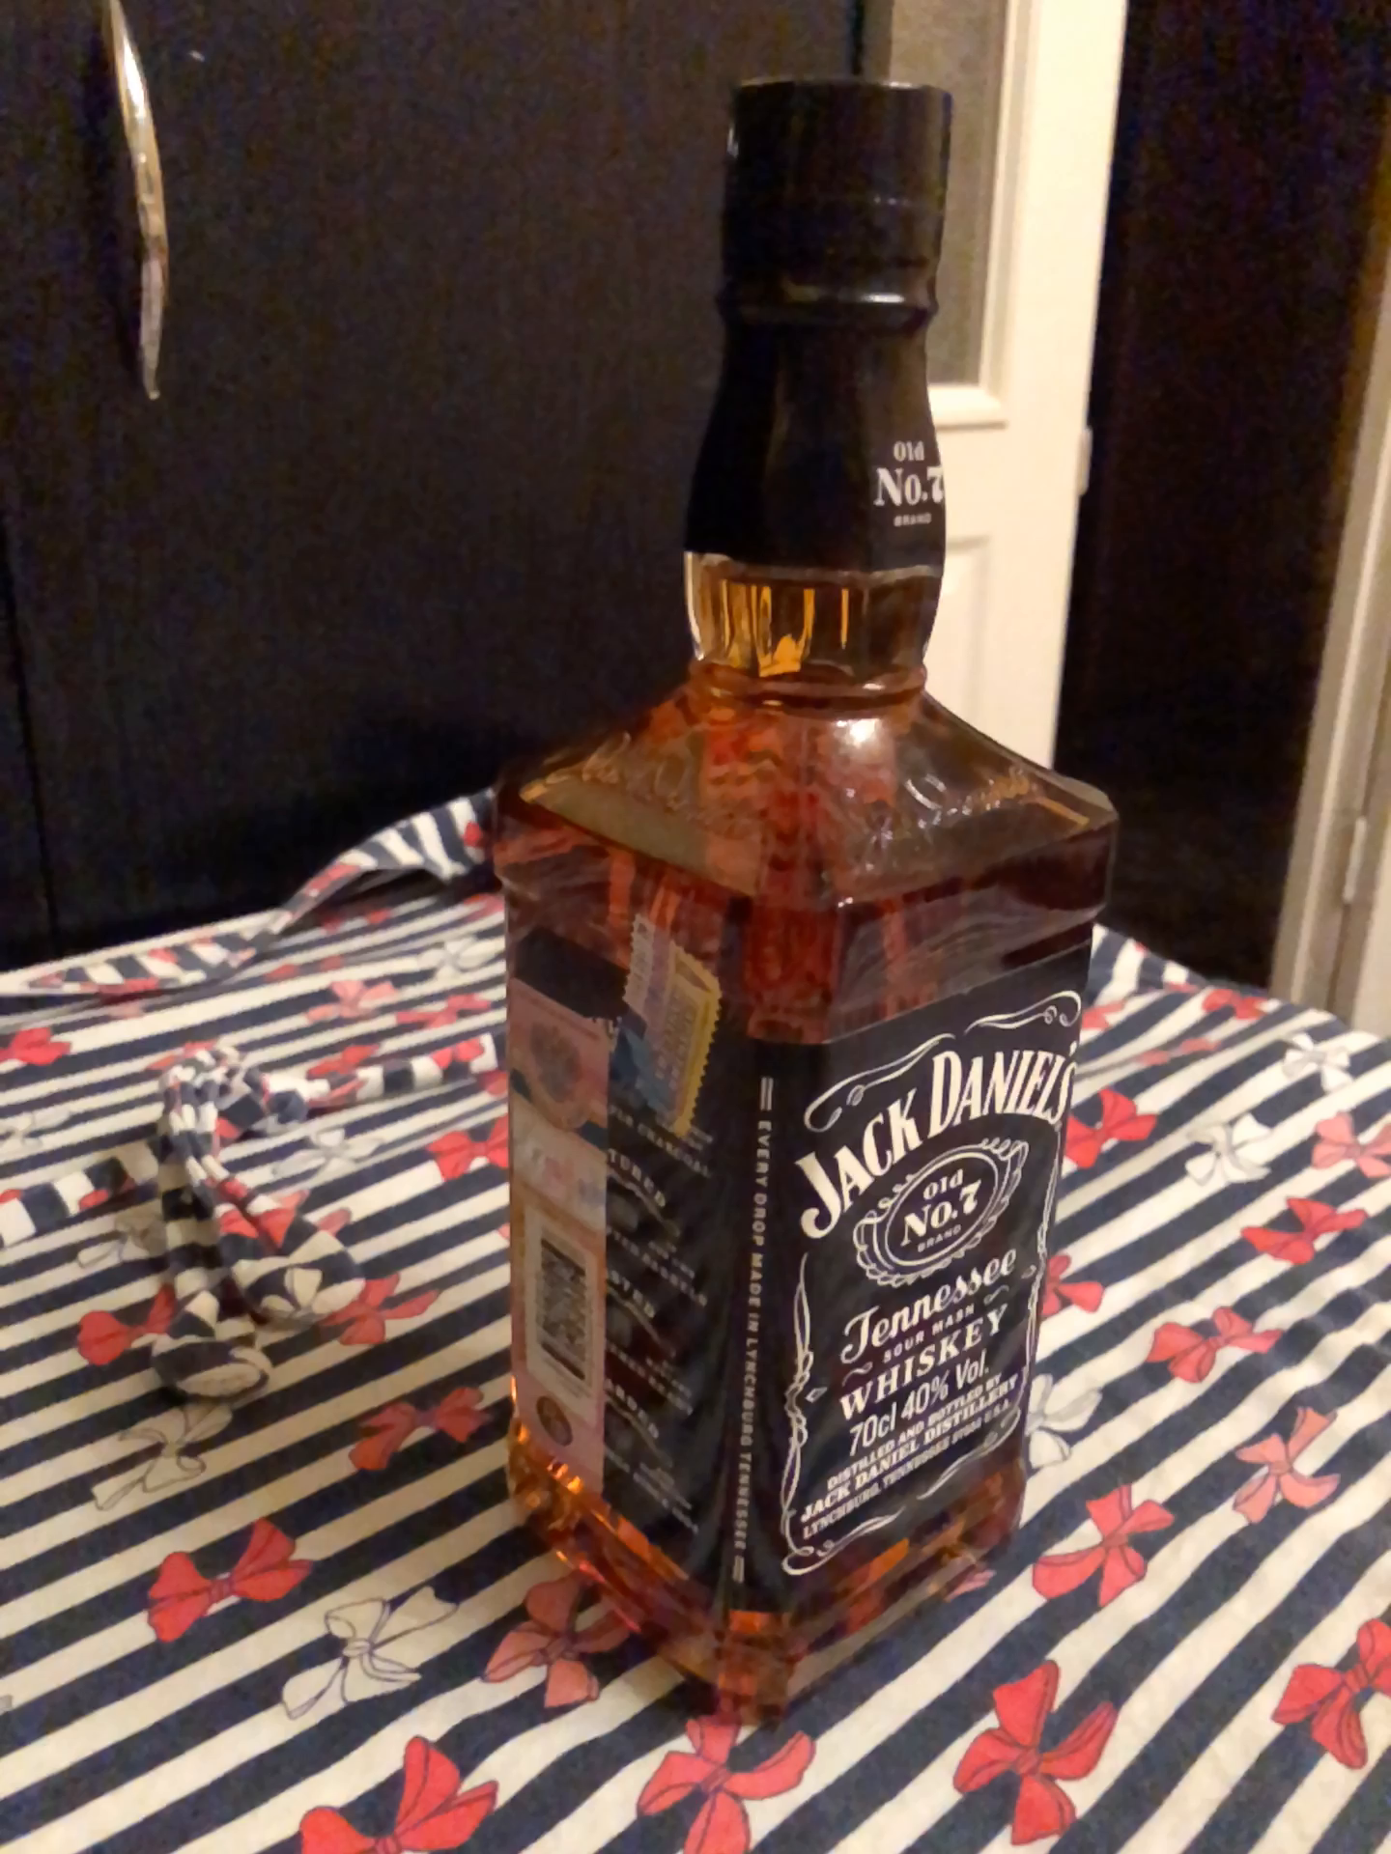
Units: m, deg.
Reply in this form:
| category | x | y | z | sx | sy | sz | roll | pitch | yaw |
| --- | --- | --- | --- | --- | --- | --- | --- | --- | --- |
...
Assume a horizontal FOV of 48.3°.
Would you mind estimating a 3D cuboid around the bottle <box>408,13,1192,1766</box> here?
| category | x | y | z | sx | sy | sz | roll | pitch | yaw |
| --- | --- | --- | --- | --- | --- | --- | --- | --- | --- |
| bottle | 0.012 | 0.001 | 0.252 | 0.074 | 0.246 | 0.073 | 0 | 22 | 0 |
